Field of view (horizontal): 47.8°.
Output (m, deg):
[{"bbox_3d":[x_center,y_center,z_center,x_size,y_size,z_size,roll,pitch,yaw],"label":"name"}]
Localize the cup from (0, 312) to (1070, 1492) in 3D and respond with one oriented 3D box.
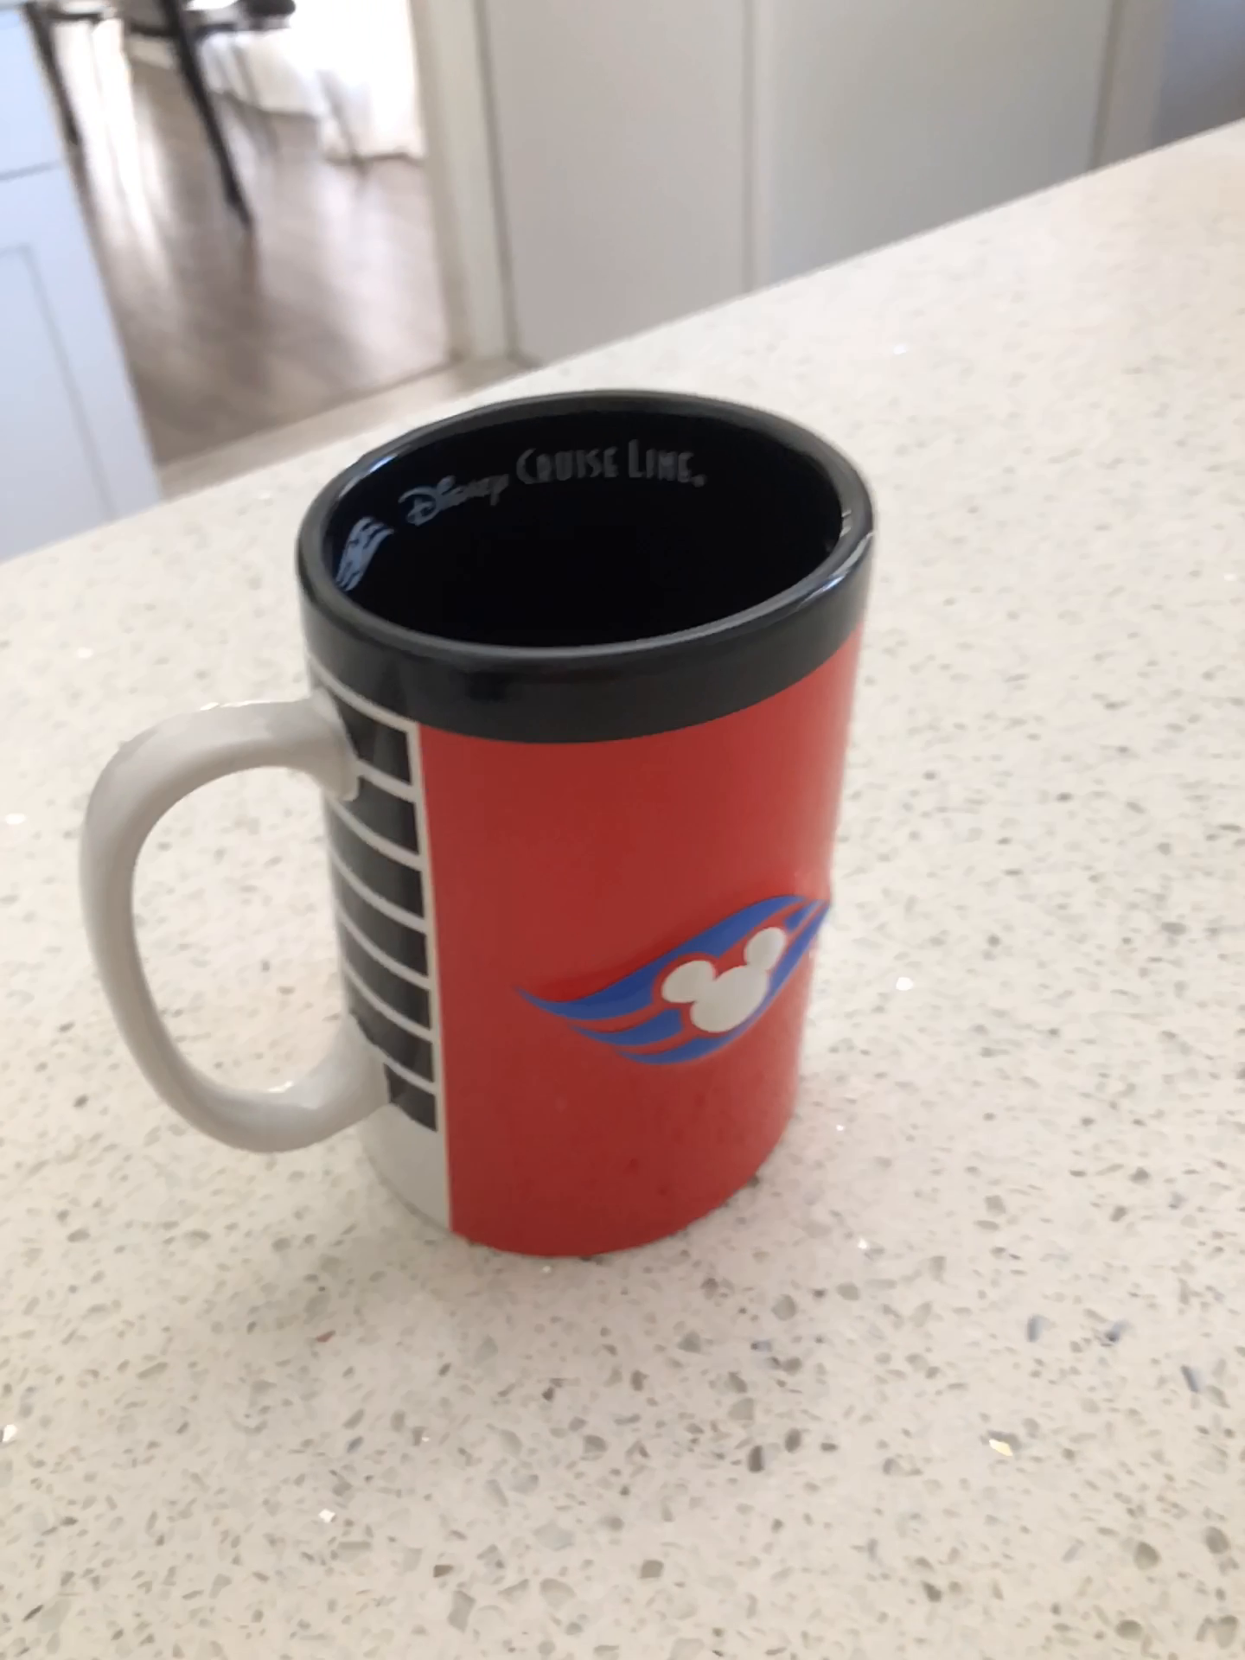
[{"bbox_3d":[-0.020,0.002,0.215,0.130,0.110,0.090,-22,42,-21],"label":"cup"}]
